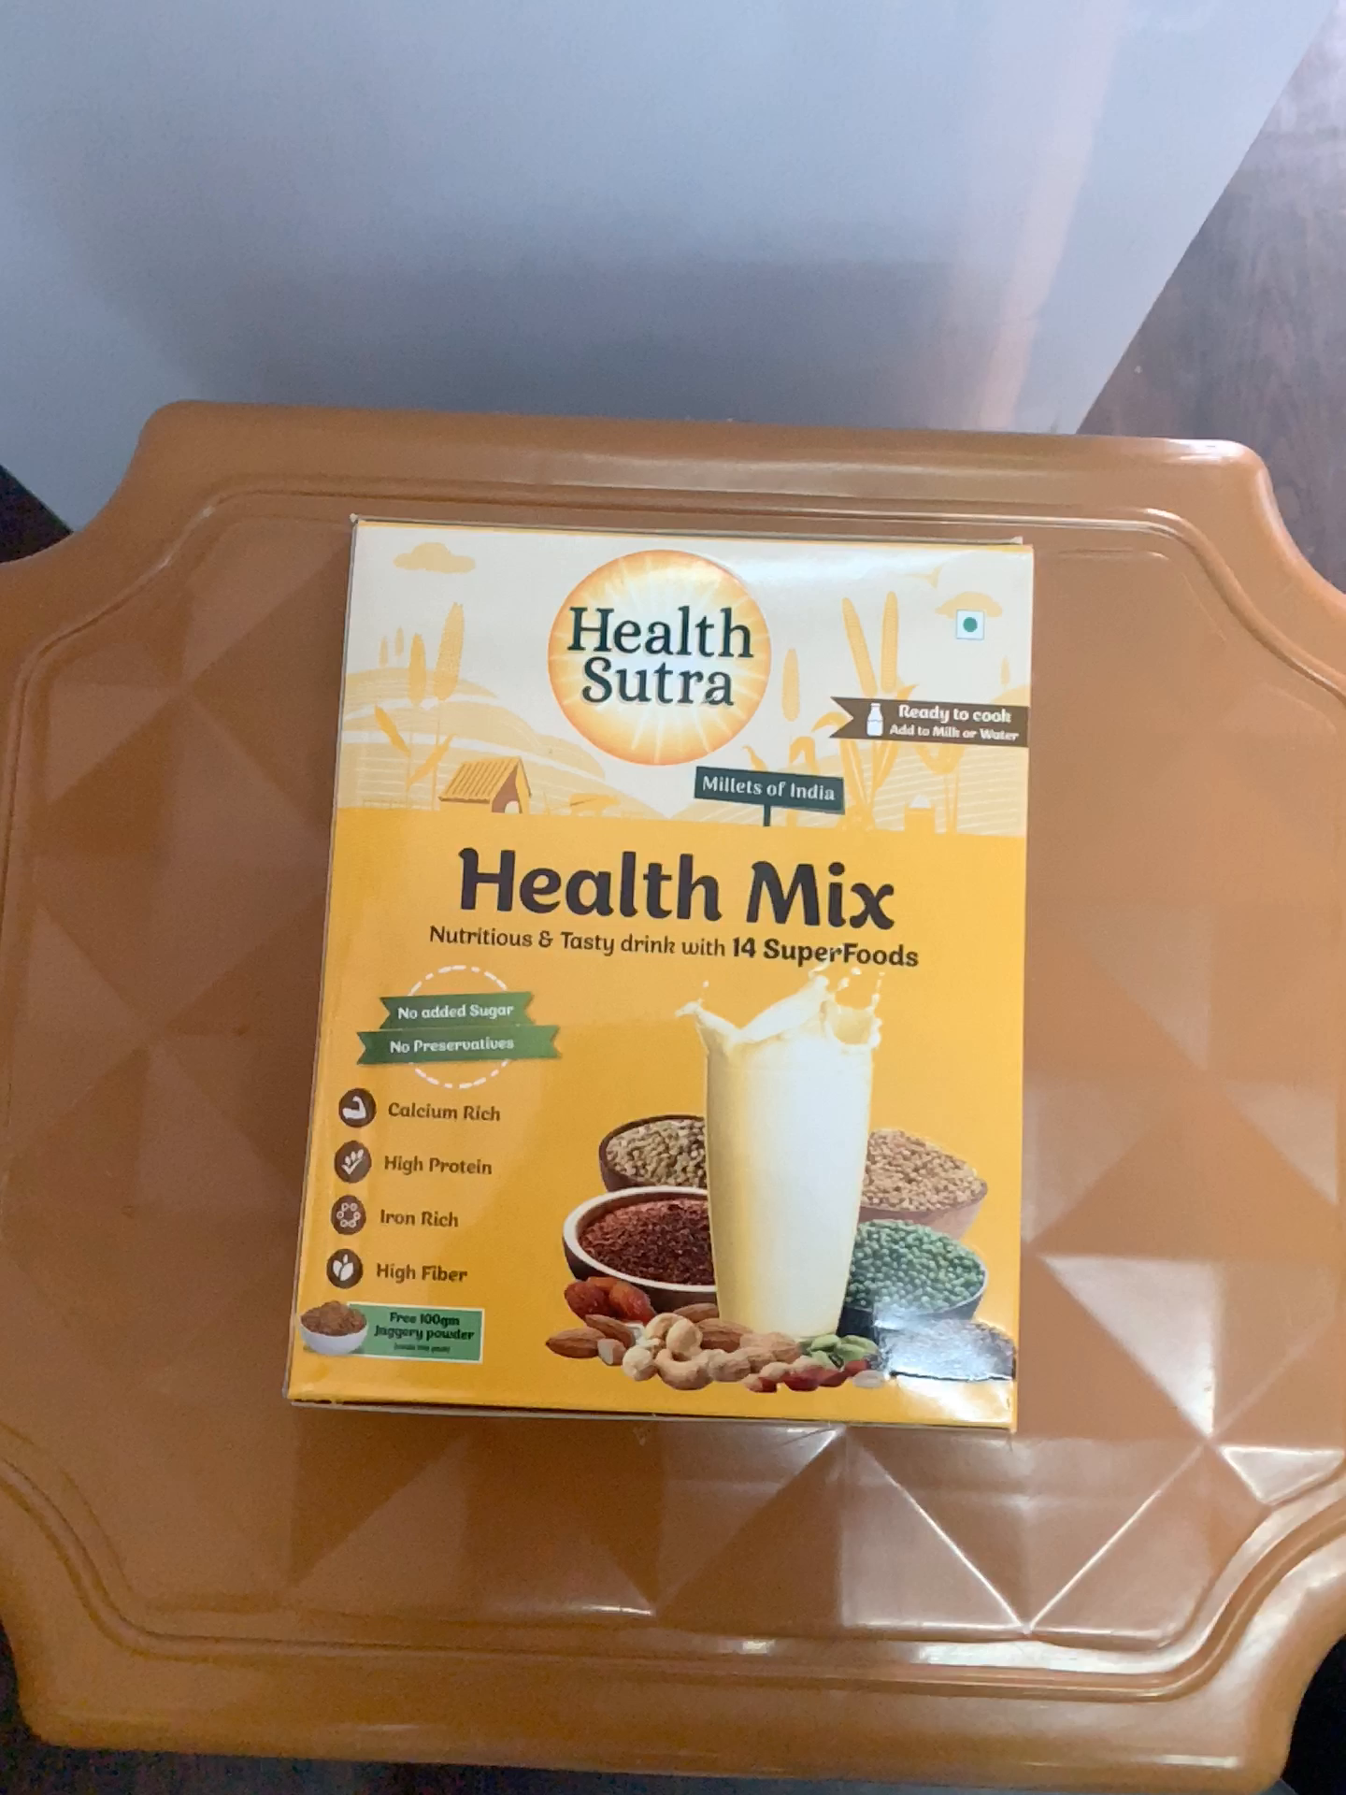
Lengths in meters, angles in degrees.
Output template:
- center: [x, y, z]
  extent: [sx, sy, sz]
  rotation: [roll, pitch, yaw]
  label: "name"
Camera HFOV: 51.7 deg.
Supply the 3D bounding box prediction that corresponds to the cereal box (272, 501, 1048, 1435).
- center: [0.000, 0.012, 0.263]
  extent: [0.130, 0.040, 0.160]
  rotation: [2, 82, -1]
  label: "cereal box"
